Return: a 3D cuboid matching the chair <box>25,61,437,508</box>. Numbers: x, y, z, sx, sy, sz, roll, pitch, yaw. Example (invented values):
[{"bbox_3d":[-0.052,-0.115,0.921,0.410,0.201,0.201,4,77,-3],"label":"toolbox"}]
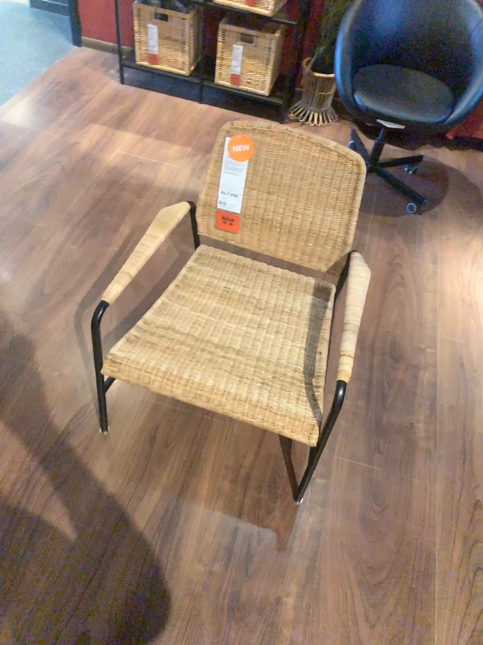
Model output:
[{"bbox_3d":[0.023,-0.108,1.385,0.710,0.758,0.792,17,50,6],"label":"chair"}]
